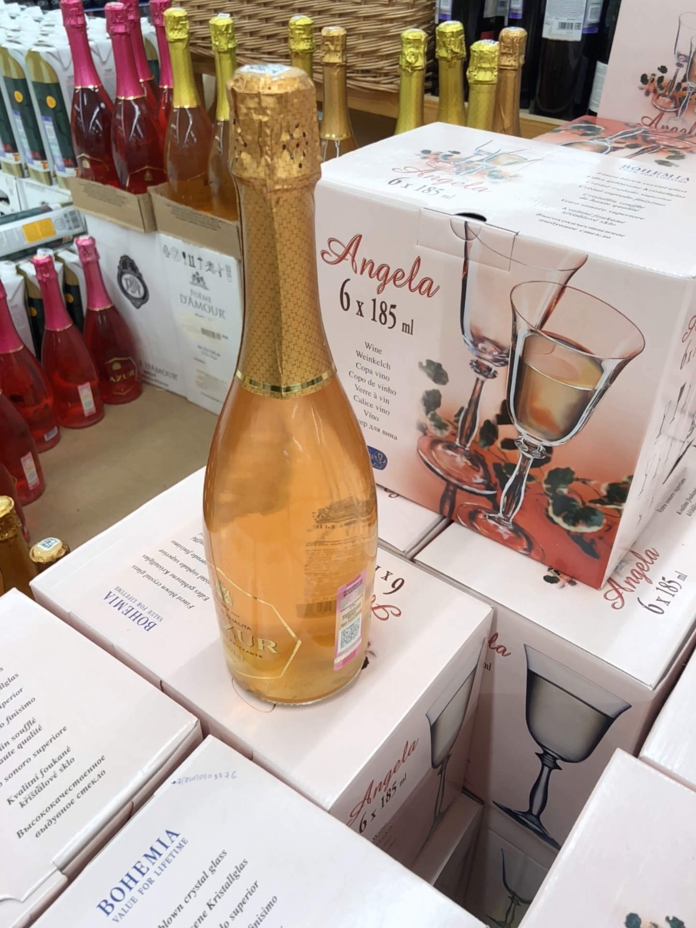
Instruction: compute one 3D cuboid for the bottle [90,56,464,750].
[{"bbox_3d":[-0.027,-0.012,0.360,0.090,0.298,0.100,-26,44,-30],"label":"bottle"}]
